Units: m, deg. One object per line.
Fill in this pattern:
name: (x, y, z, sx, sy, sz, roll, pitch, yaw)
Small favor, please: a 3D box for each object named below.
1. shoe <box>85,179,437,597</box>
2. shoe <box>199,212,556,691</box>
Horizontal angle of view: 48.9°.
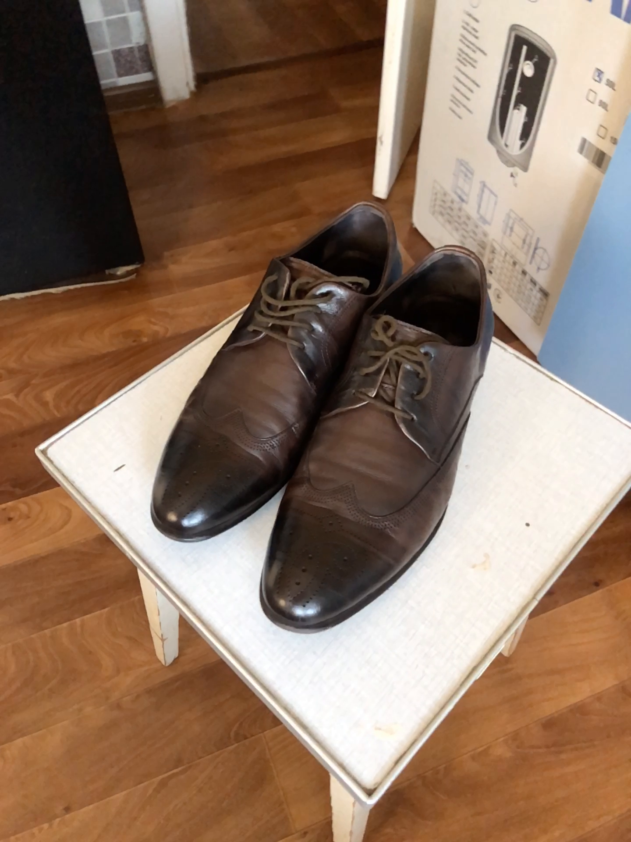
shoe: (-0.020, -0.039, 0.496, 0.100, 0.099, 0.291, 22, 56, 16)
shoe: (0.053, 0.002, 0.448, 0.100, 0.099, 0.291, 22, 56, 16)
